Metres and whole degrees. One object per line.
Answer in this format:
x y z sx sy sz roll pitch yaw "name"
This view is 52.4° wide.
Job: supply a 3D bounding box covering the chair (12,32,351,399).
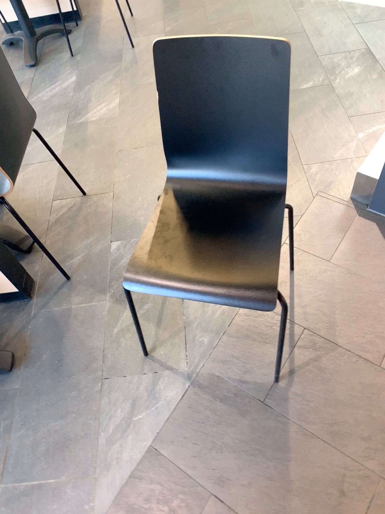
0.063 -0.052 1.072 0.520 0.837 0.521 8 56 14 "chair"
